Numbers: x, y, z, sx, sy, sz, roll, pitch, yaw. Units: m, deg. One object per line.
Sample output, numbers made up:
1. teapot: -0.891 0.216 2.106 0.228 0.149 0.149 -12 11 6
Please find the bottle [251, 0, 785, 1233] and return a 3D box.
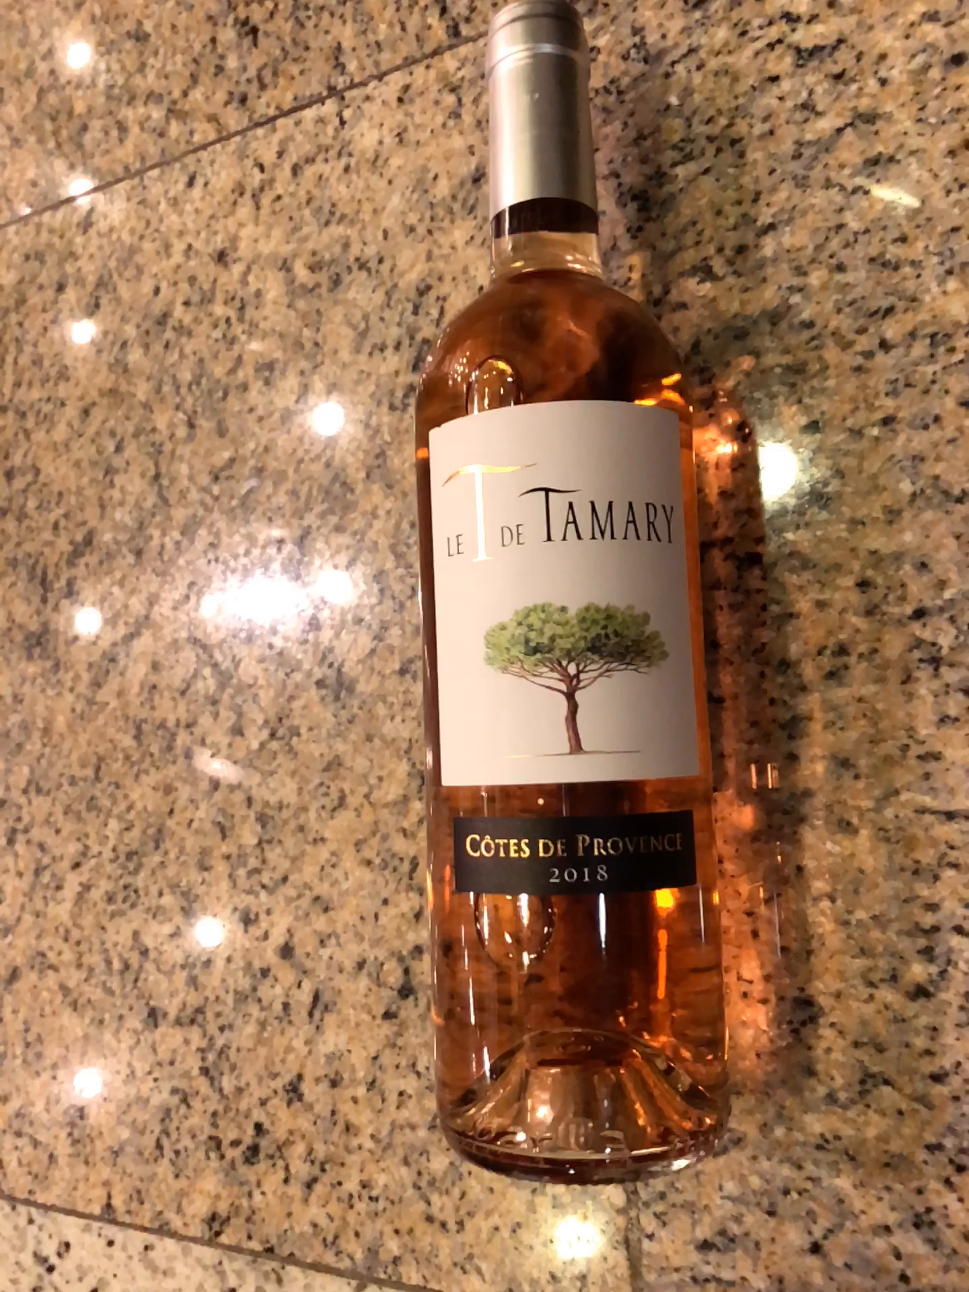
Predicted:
1. bottle: 0.008 -0.047 0.266 0.090 0.080 0.320 -6 84 28
